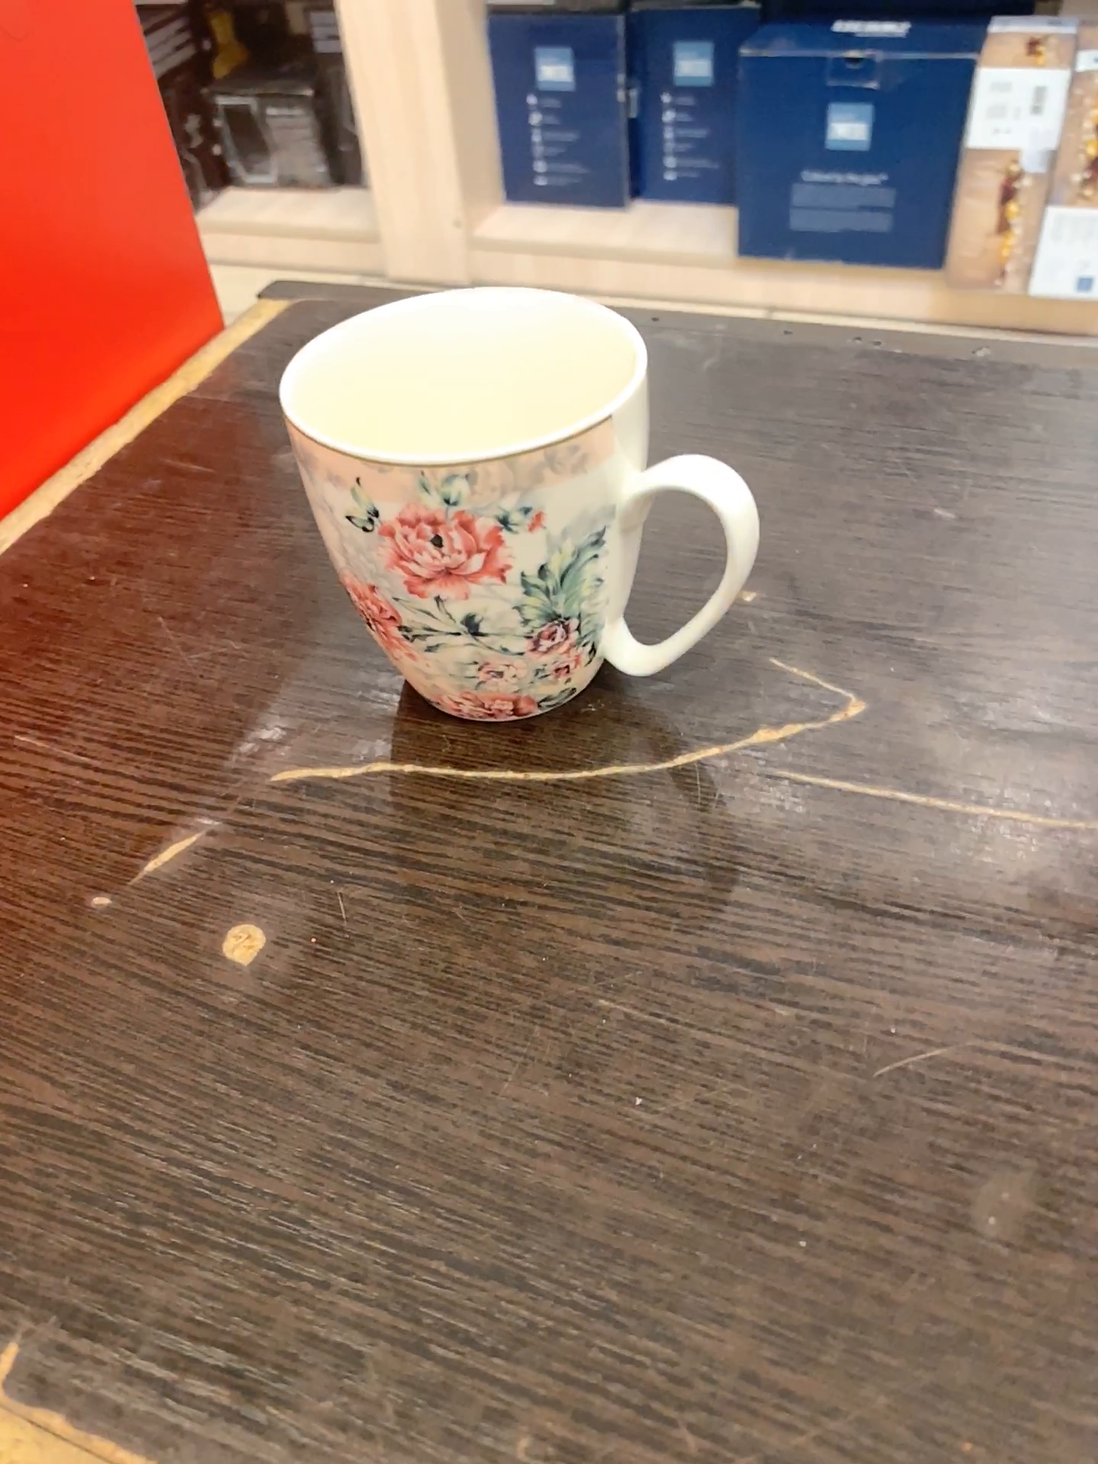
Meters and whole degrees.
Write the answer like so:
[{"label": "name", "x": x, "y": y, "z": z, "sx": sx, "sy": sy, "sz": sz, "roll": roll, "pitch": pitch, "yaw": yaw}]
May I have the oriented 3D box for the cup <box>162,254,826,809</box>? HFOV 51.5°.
[{"label": "cup", "x": -0.008, "y": -0.050, "z": 0.255, "sx": 0.110, "sy": 0.070, "sz": 0.080, "roll": 18, "pitch": 49, "yaw": 24}]
